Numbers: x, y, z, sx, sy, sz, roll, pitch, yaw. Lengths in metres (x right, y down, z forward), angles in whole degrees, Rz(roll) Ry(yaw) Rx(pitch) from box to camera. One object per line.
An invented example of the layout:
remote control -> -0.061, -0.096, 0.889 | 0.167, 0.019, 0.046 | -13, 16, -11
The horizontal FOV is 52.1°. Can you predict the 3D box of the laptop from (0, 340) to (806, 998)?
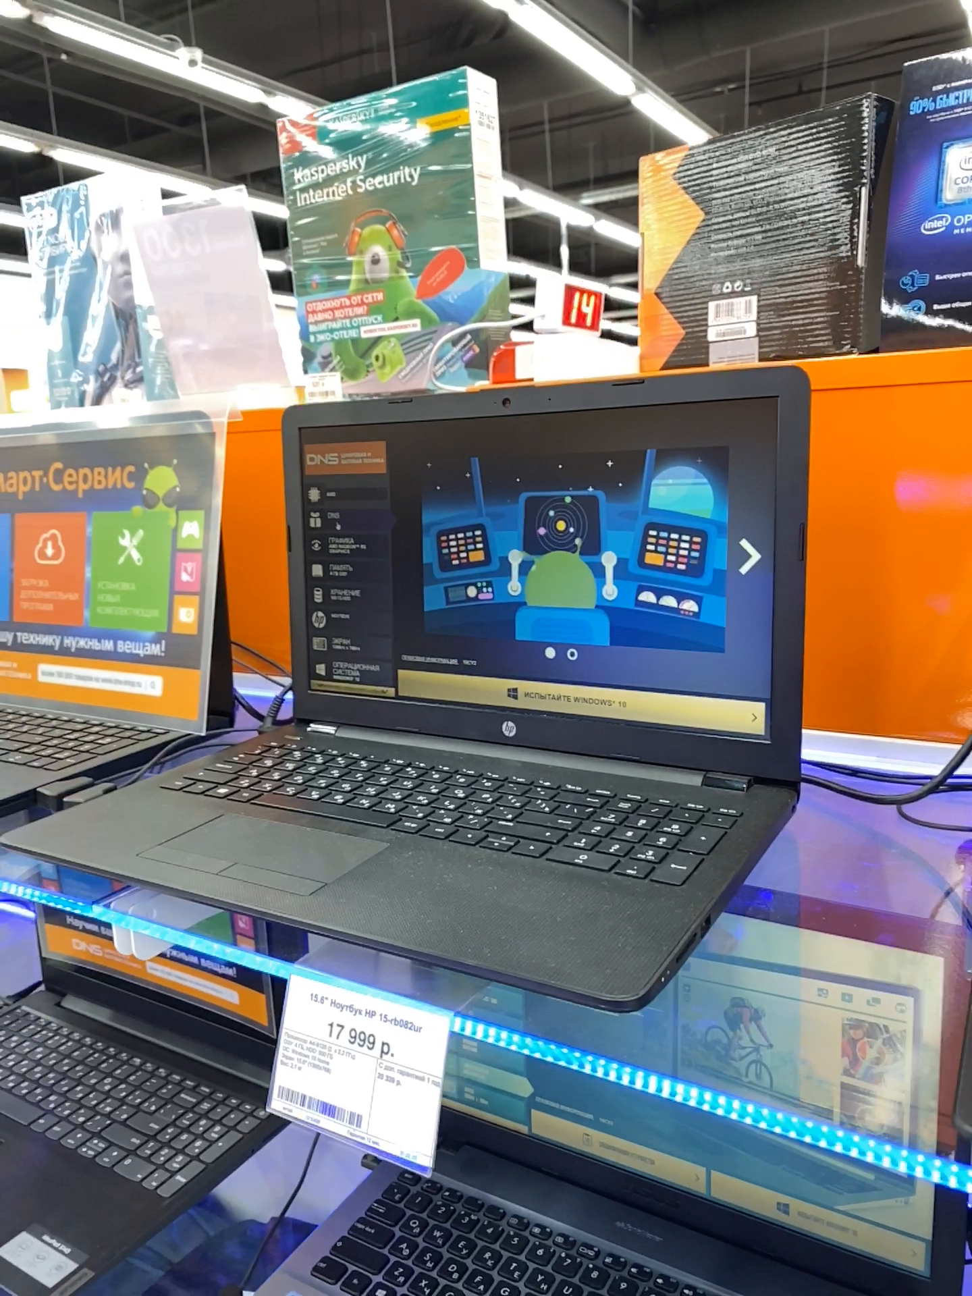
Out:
laptop -> -0.047, -0.023, 0.548 | 0.369, 0.231, 0.271 | 4, 12, 30
